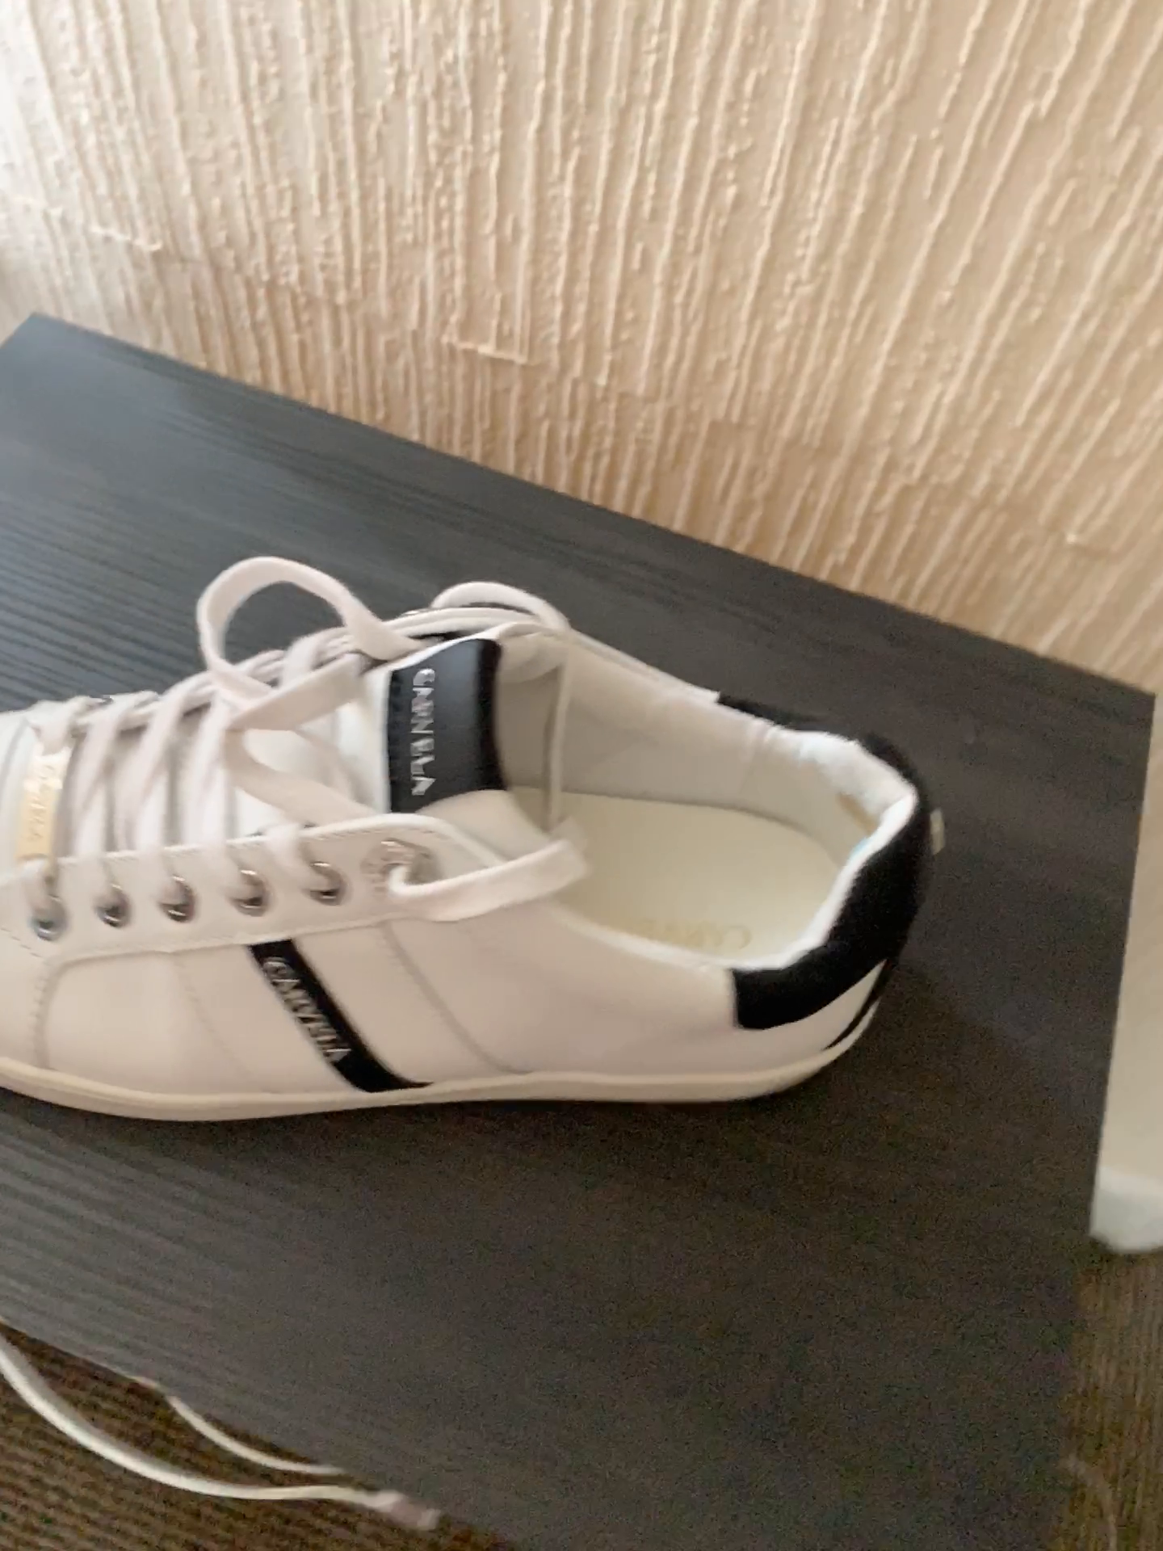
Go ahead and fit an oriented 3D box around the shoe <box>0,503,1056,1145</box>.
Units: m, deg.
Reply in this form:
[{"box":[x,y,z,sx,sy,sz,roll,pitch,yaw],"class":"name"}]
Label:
[{"box":[-0.048,0.017,0.270,0.260,0.087,0.104,3,59,-5],"class":"shoe"}]
